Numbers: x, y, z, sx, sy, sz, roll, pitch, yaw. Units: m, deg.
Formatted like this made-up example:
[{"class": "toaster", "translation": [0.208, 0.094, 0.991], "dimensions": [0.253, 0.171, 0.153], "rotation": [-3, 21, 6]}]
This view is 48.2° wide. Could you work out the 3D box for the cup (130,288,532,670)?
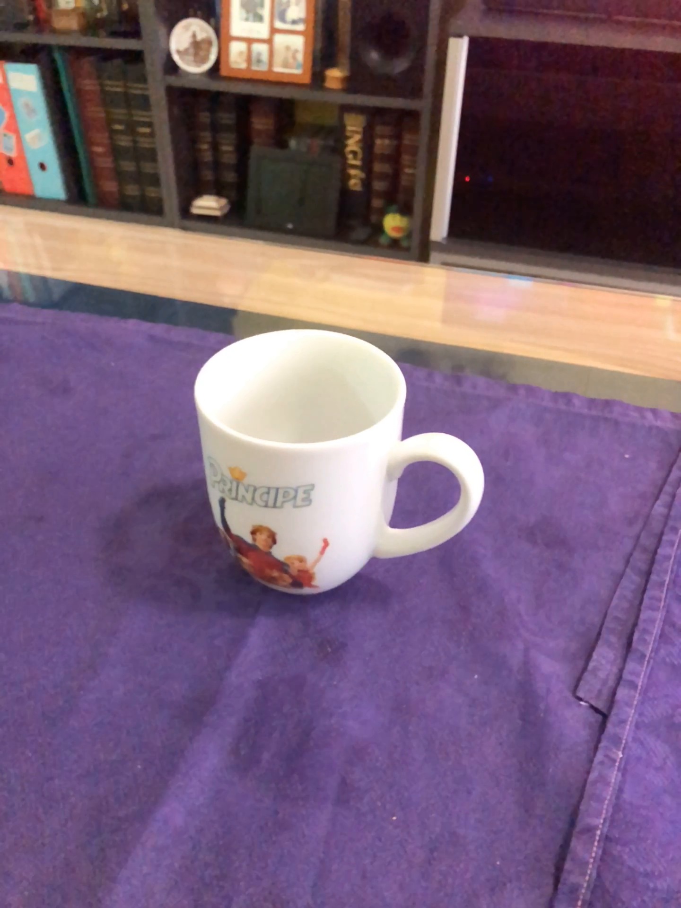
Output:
[{"class": "cup", "translation": [-0.002, 0.004, 0.299], "dimensions": [0.120, 0.090, 0.080], "rotation": [17, 41, 20]}]
